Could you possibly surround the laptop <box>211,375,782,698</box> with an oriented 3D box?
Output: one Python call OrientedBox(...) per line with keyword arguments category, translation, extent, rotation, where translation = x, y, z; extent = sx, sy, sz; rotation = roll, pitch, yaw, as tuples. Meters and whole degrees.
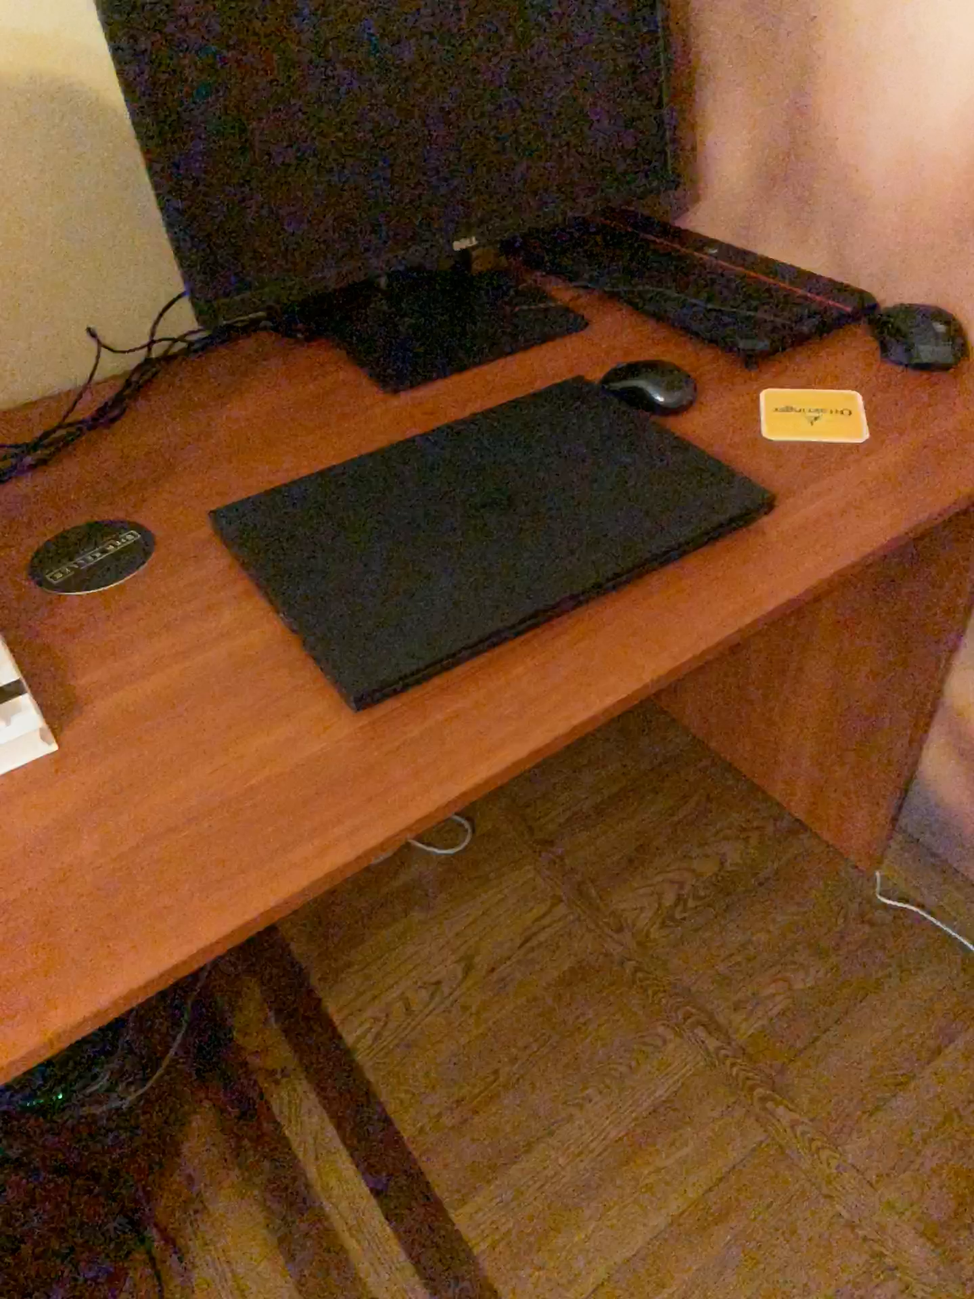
OrientedBox(category="laptop", translation=(0.003, -0.108, 0.732), extent=(0.351, 0.001, 0.248), rotation=(-25, 45, -22))
